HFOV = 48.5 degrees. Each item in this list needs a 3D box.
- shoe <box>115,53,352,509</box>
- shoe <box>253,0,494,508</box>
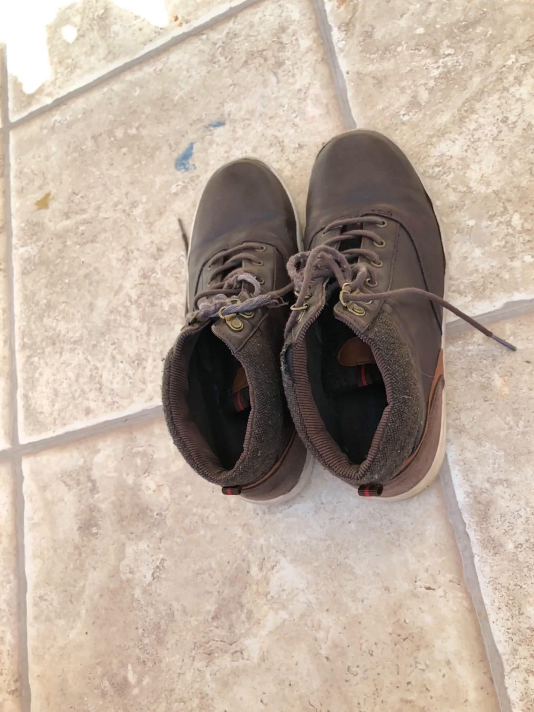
[{"bbox_3d":[-0.023,-0.042,0.458,0.110,0.150,0.301,-10,72,21],"label":"shoe"},{"bbox_3d":[0.075,-0.052,0.414,0.110,0.150,0.301,-9,72,22],"label":"shoe"}]
